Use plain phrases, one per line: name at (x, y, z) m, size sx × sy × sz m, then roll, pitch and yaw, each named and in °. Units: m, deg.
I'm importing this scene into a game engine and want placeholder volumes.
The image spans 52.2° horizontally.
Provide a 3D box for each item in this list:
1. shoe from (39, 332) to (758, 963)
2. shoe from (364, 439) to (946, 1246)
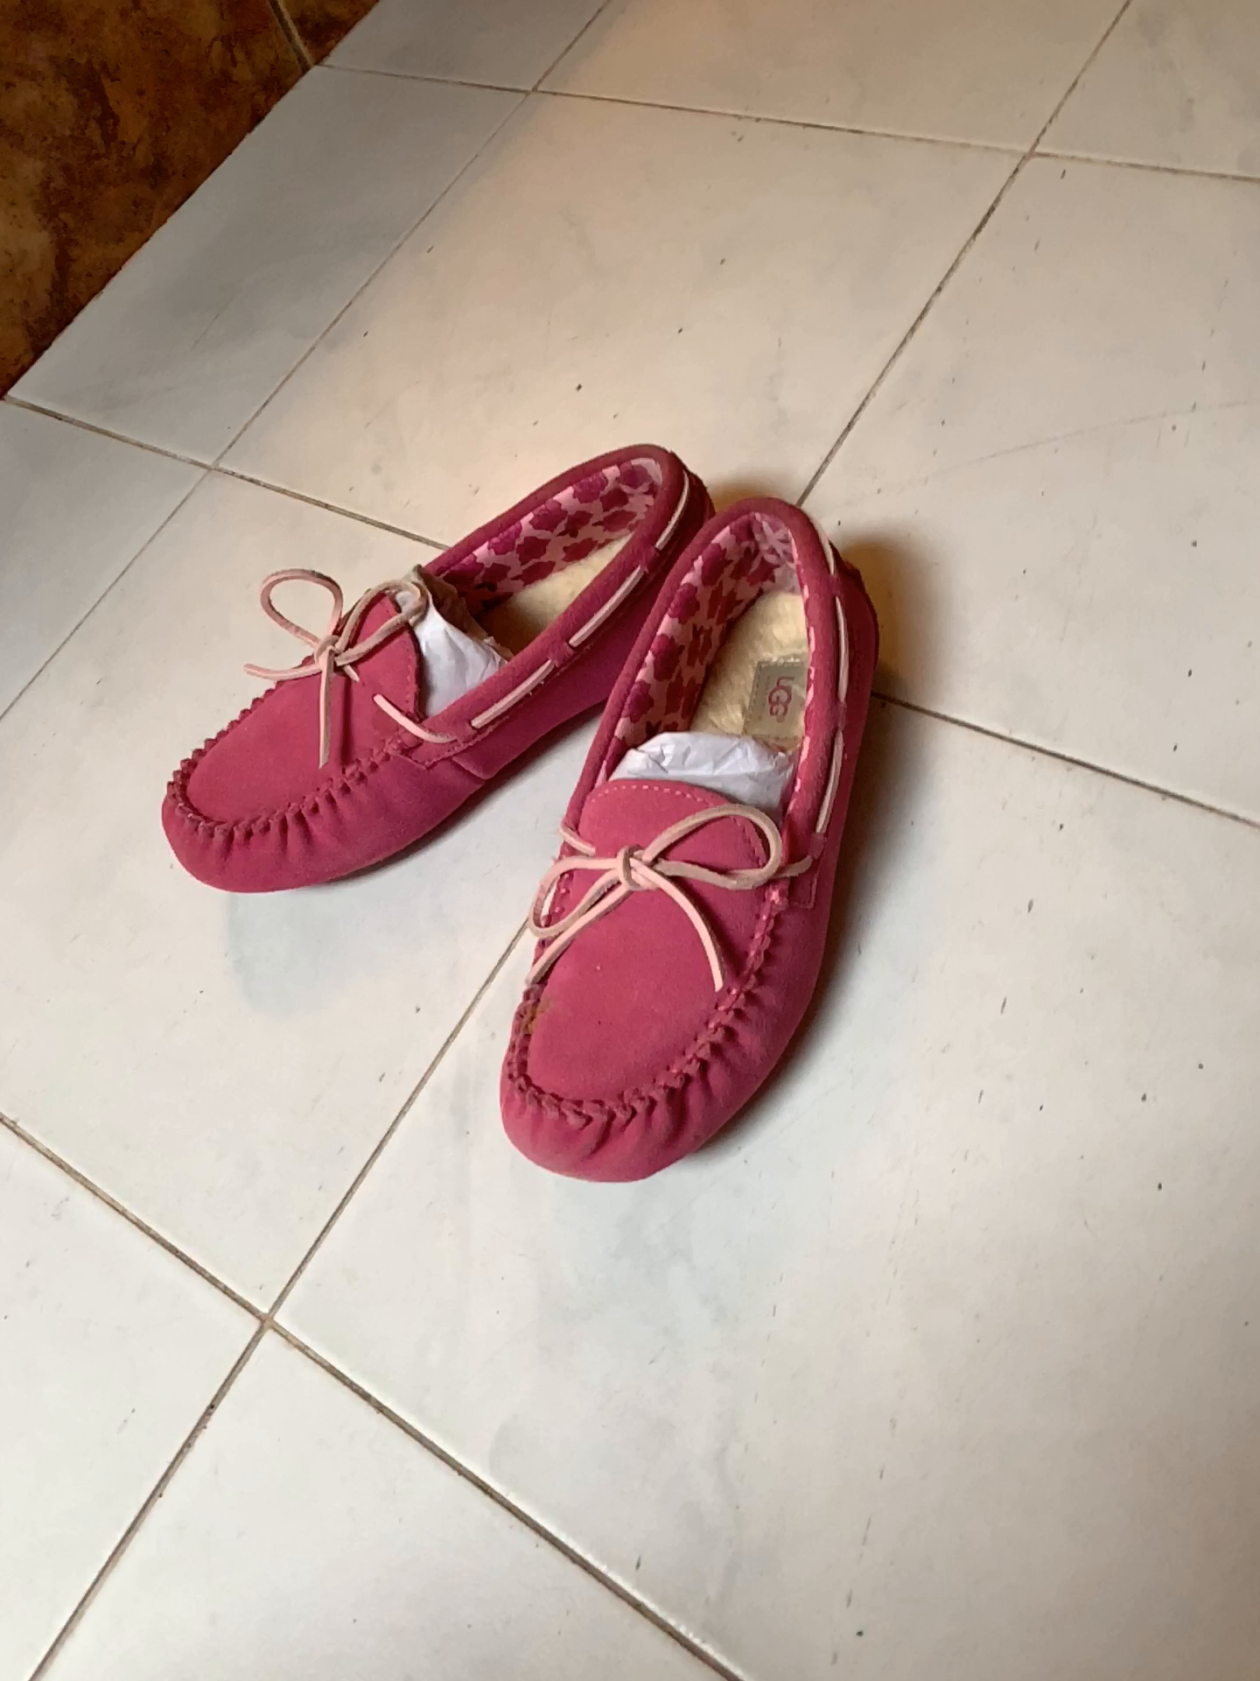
shoe at (-0.079, -0.069, 0.466) m, size 0.227 × 0.083 × 0.090 m, roll -34°, pitch 57°, yaw -3°
shoe at (0.021, -0.007, 0.403) m, size 0.090 × 0.083 × 0.227 m, roll 13°, pitch 66°, yaw 23°
